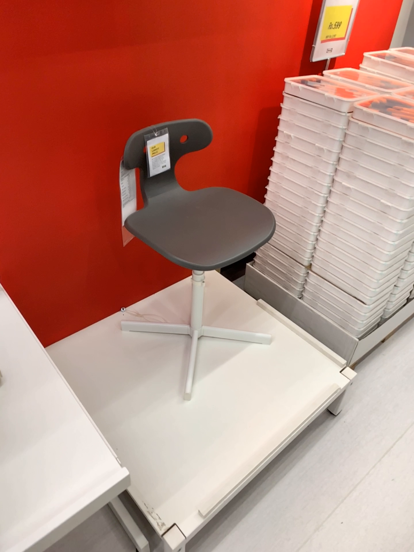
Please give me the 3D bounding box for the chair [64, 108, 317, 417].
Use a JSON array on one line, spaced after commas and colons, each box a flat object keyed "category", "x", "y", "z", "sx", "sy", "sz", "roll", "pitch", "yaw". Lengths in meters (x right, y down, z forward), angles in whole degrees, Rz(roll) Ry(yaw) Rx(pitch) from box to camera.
[{"category": "chair", "x": -0.058, "y": -0.052, "z": 1.284, "sx": 0.461, "sy": 0.697, "sz": 0.451, "roll": -28, "pitch": 49, "yaw": -32}]
